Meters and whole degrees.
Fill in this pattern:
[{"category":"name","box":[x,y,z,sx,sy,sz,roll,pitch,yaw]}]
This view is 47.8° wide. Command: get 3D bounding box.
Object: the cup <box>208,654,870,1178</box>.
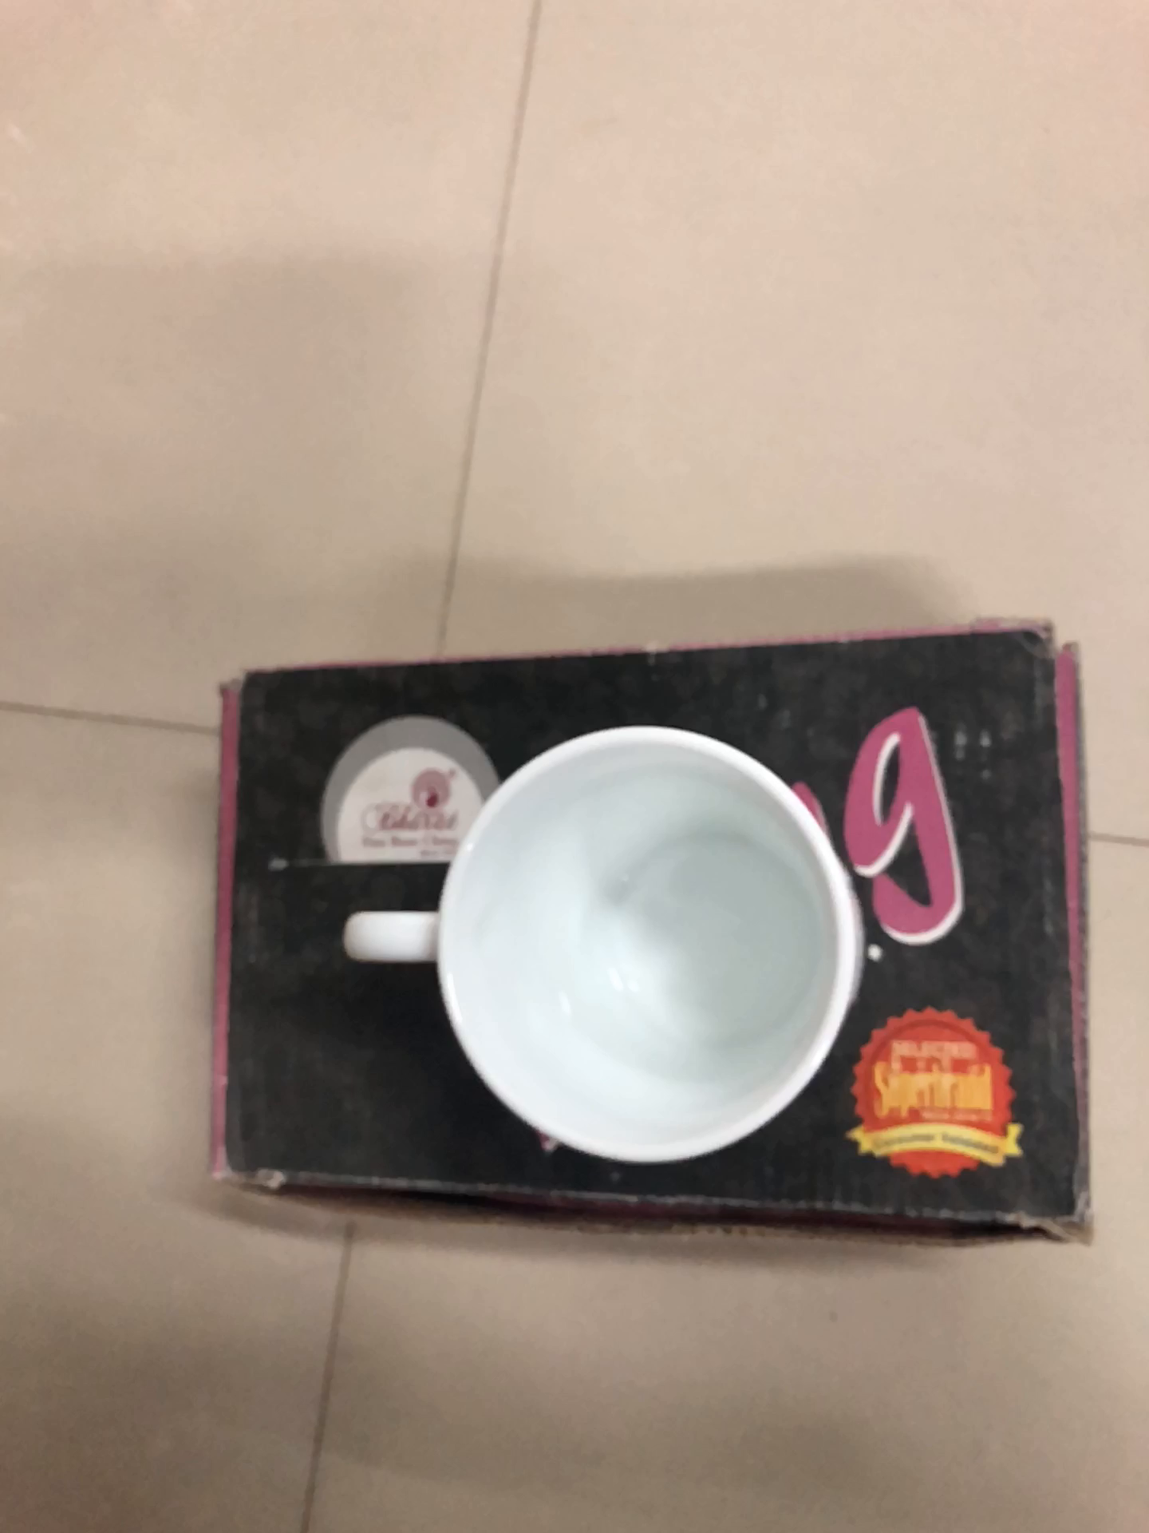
[{"category":"cup","box":[0.001,0.029,0.283,0.120,0.090,0.090,1,83,15]}]
